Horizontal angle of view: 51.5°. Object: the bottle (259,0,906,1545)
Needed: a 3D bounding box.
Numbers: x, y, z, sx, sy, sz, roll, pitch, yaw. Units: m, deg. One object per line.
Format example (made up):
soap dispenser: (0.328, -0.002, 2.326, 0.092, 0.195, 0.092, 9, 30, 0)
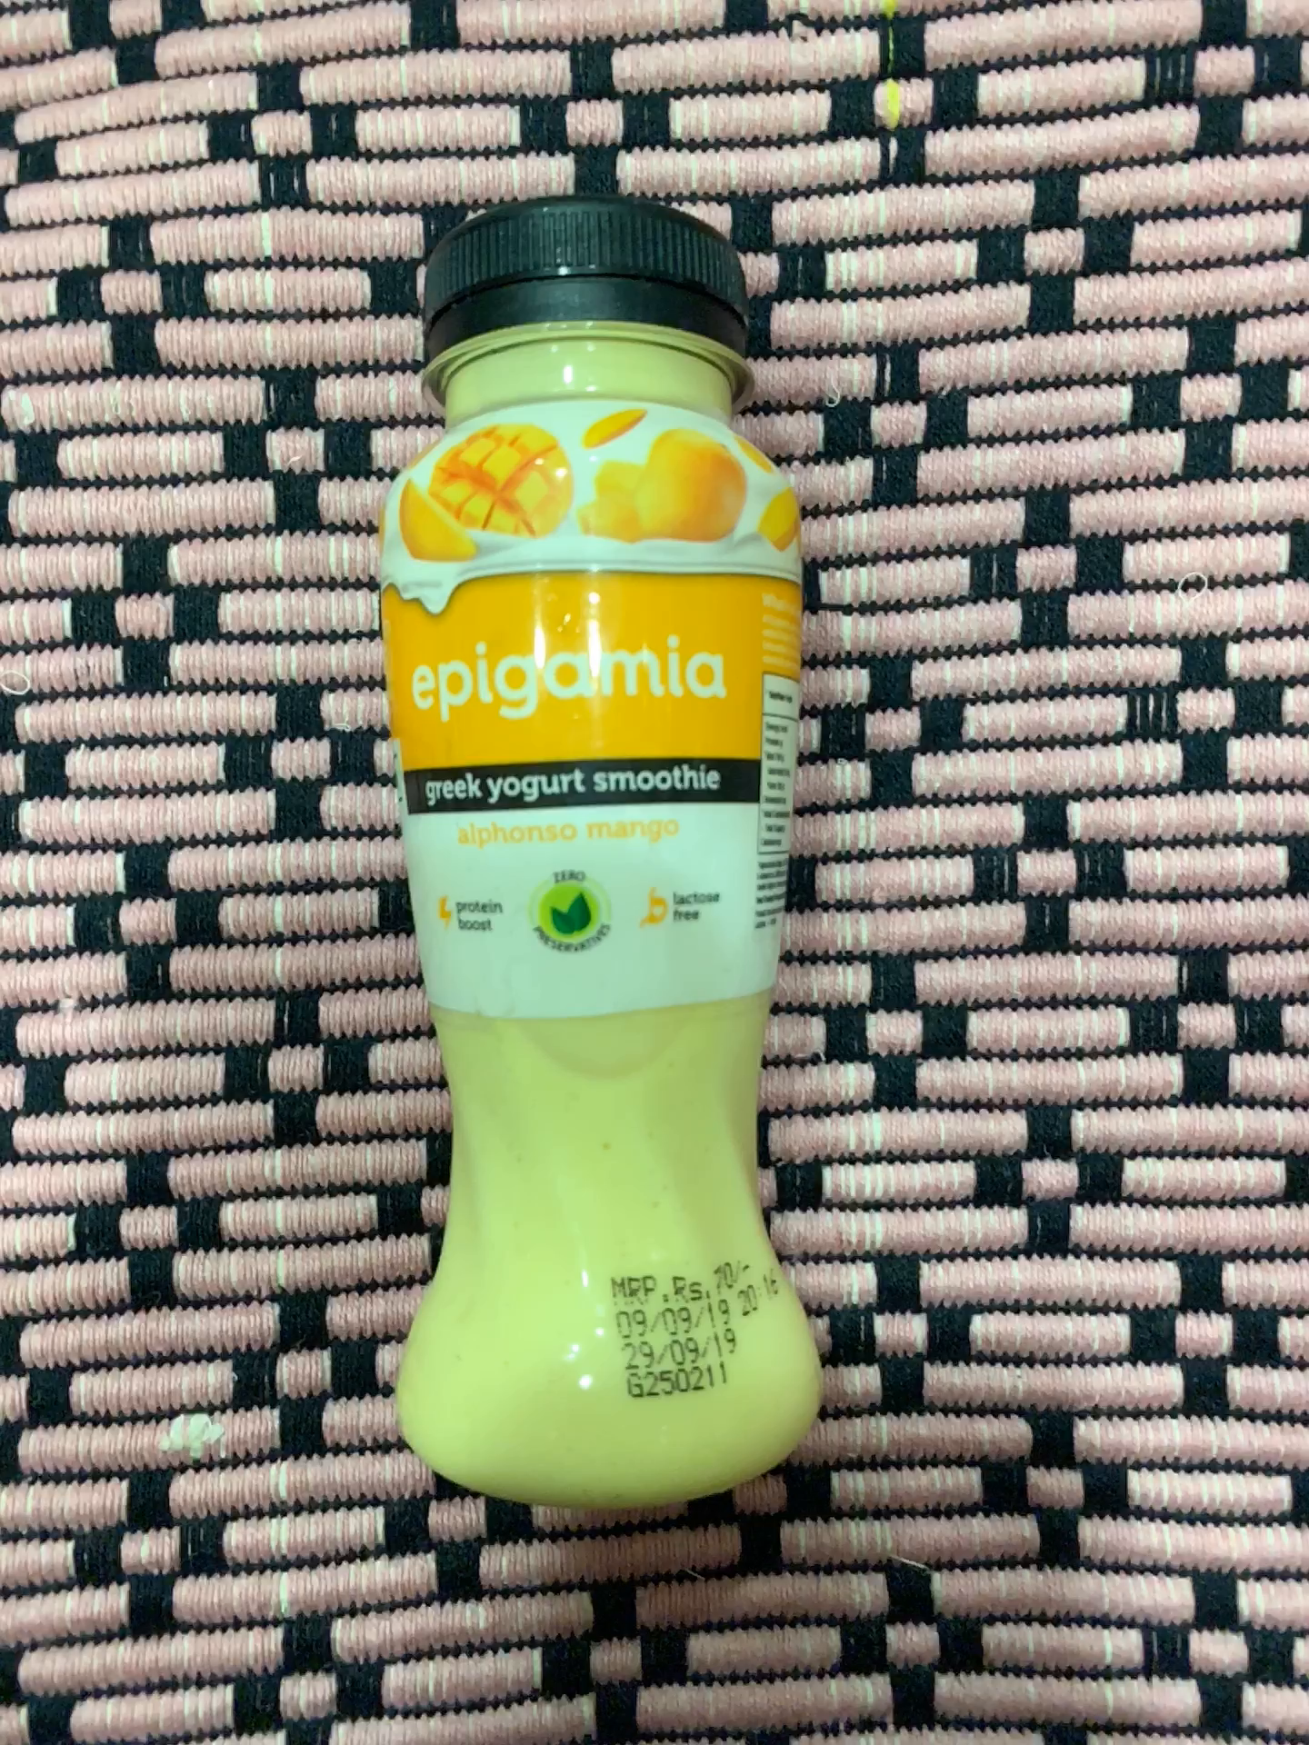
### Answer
bottle: (-0.004, -0.010, 0.174, 0.060, 0.060, 0.160, -4, 88, 12)
